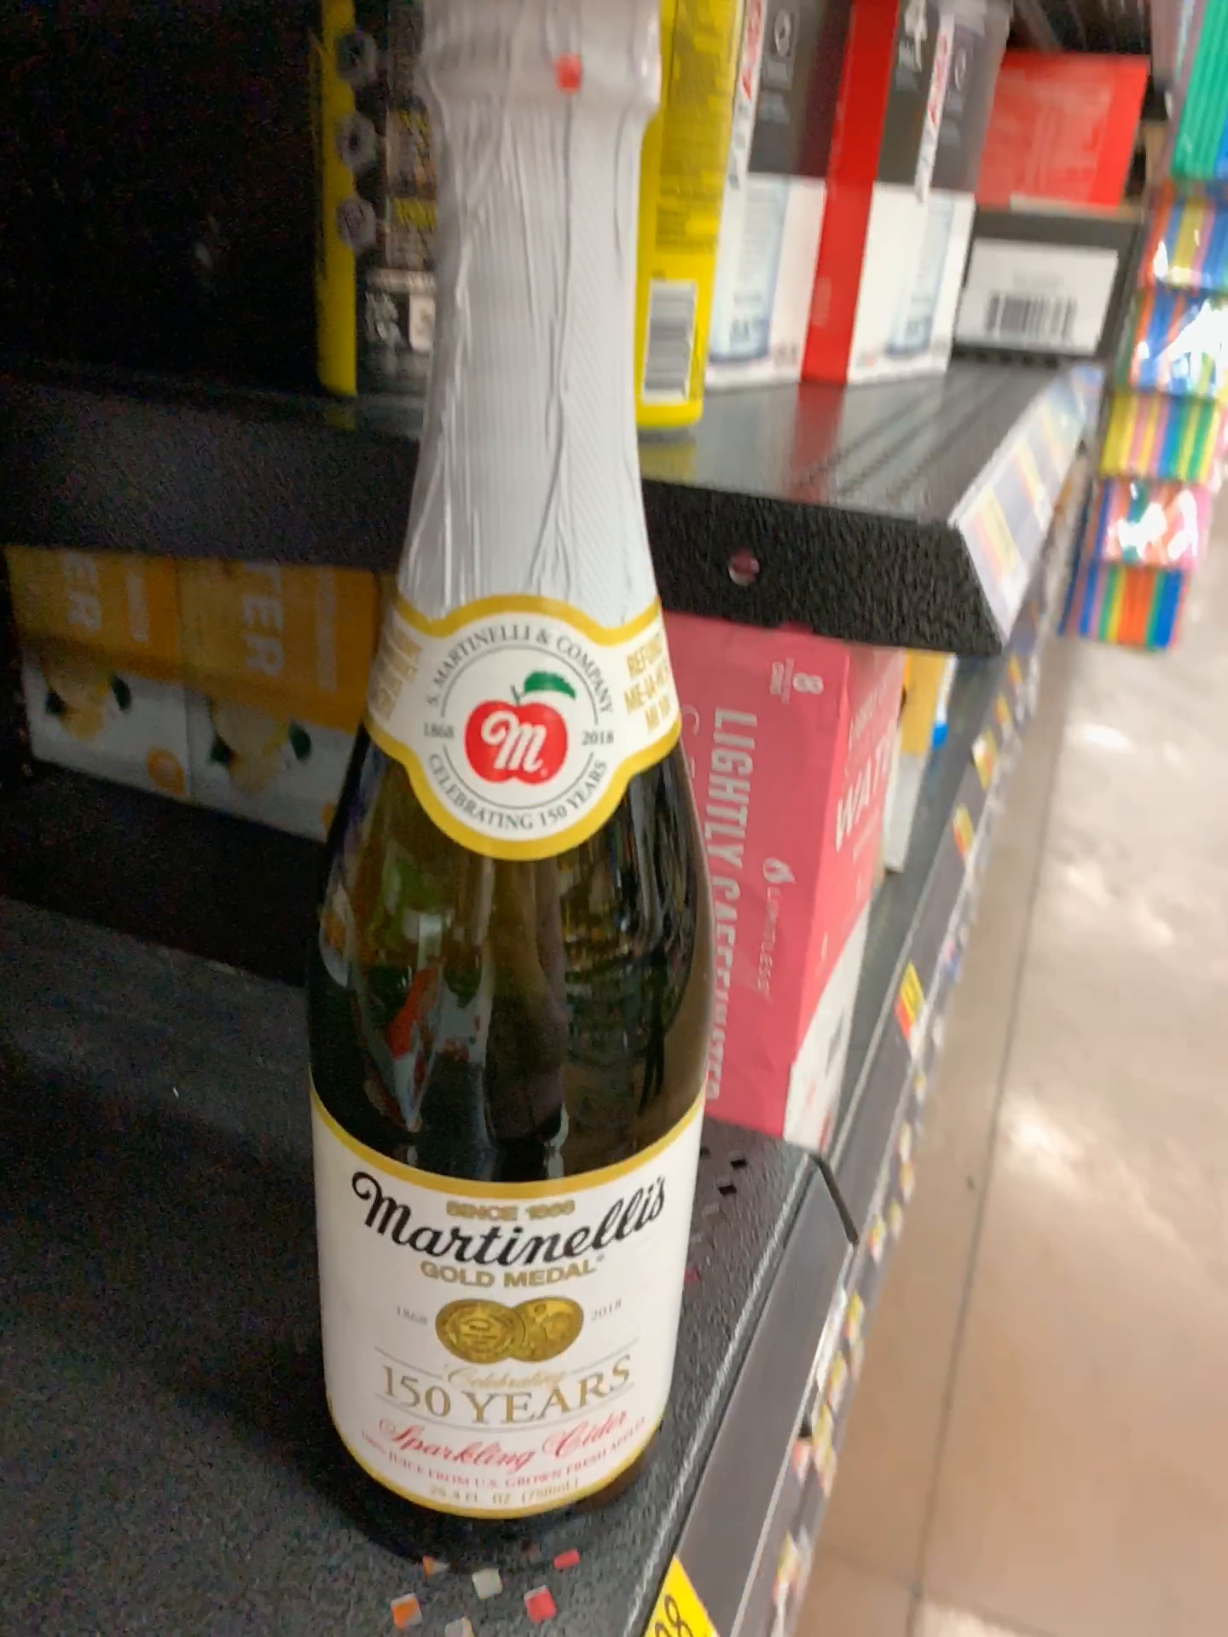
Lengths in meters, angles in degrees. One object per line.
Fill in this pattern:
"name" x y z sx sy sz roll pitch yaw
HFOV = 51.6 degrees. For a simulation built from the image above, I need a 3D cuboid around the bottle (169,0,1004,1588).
"bottle" -0.017 0.008 0.242 0.089 0.299 0.090 5 26 -2
